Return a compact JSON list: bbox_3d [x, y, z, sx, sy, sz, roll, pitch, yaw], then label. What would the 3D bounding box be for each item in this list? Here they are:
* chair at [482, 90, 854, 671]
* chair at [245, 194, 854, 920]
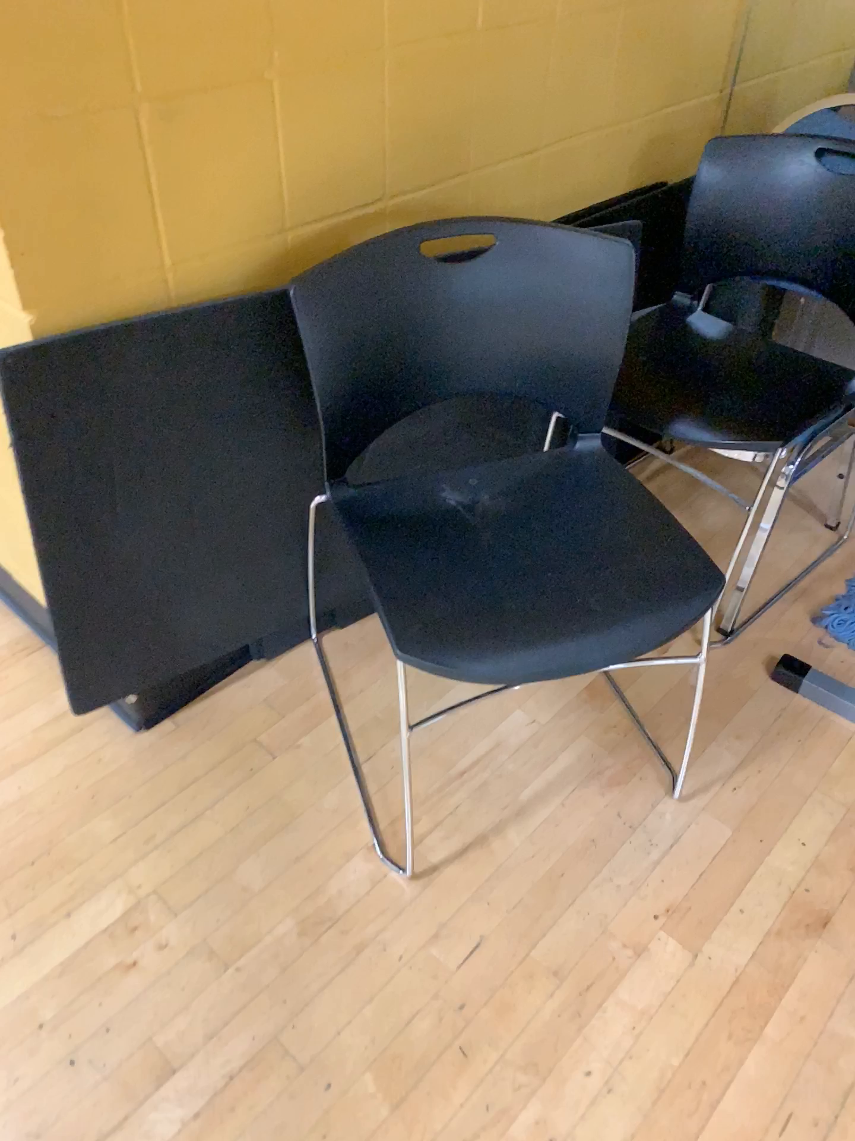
[{"bbox_3d":[0.656,-0.435,1.775,0.778,0.761,0.678,-30,51,-32],"label":"chair"},{"bbox_3d":[0.141,-0.064,1.342,0.636,0.722,0.730,-12,44,-16],"label":"chair"}]
